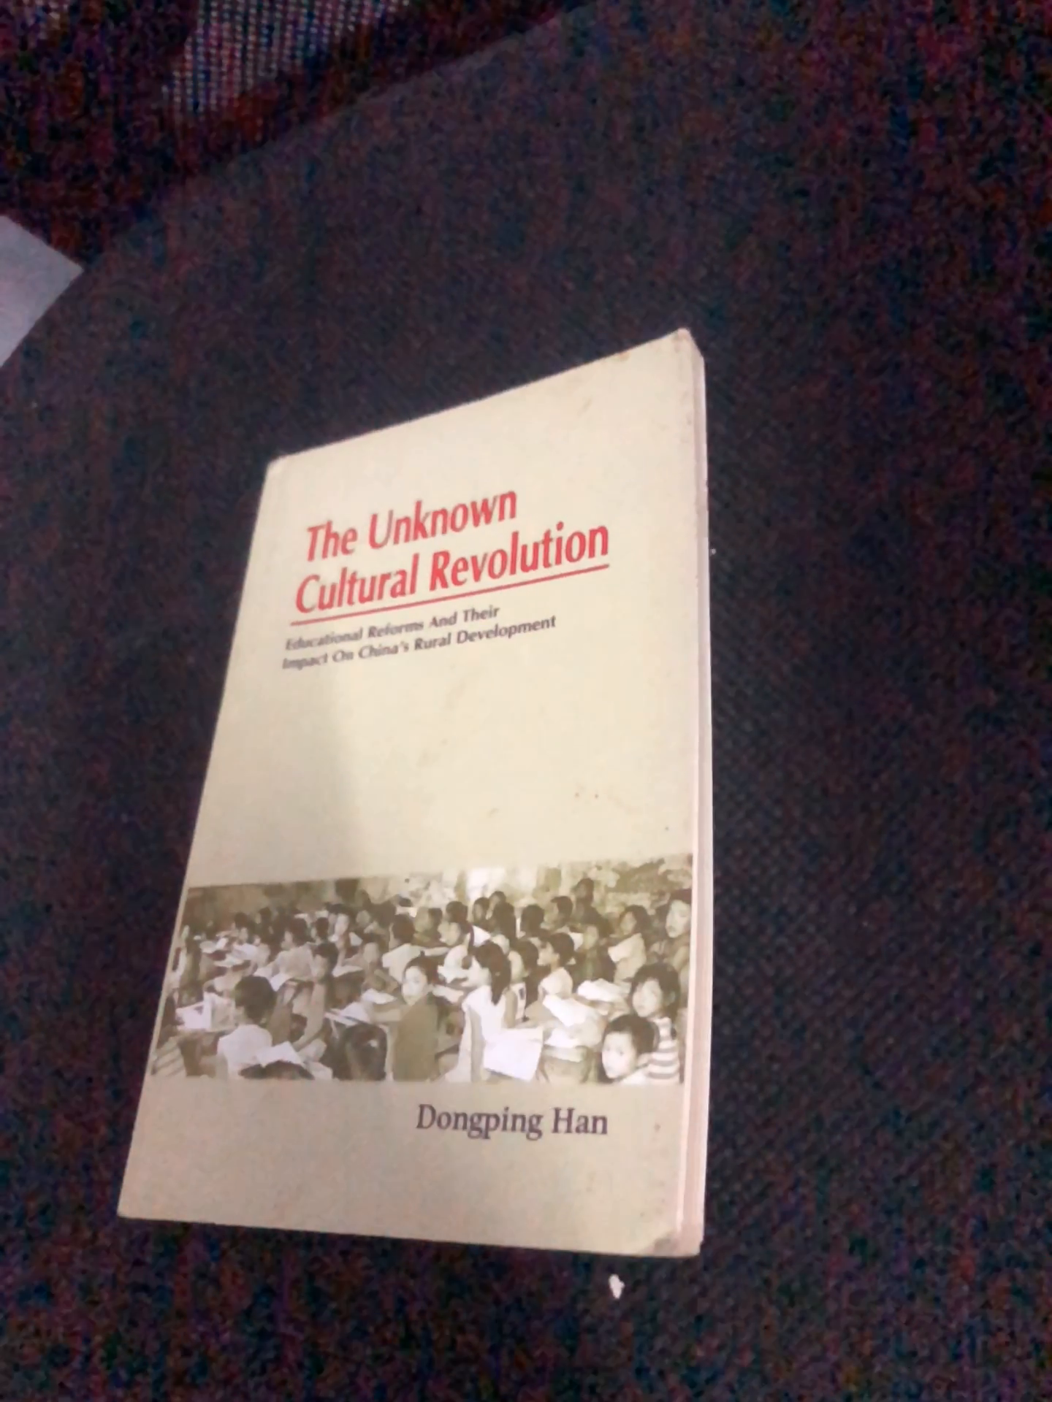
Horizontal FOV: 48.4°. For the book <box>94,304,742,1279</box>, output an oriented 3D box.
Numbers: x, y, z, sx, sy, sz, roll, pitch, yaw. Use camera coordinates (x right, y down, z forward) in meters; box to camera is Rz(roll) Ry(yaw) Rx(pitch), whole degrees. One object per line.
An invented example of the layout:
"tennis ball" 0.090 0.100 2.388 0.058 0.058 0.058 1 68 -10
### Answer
"book" -0.025 0.016 0.288 0.154 0.017 0.214 -8 66 27
